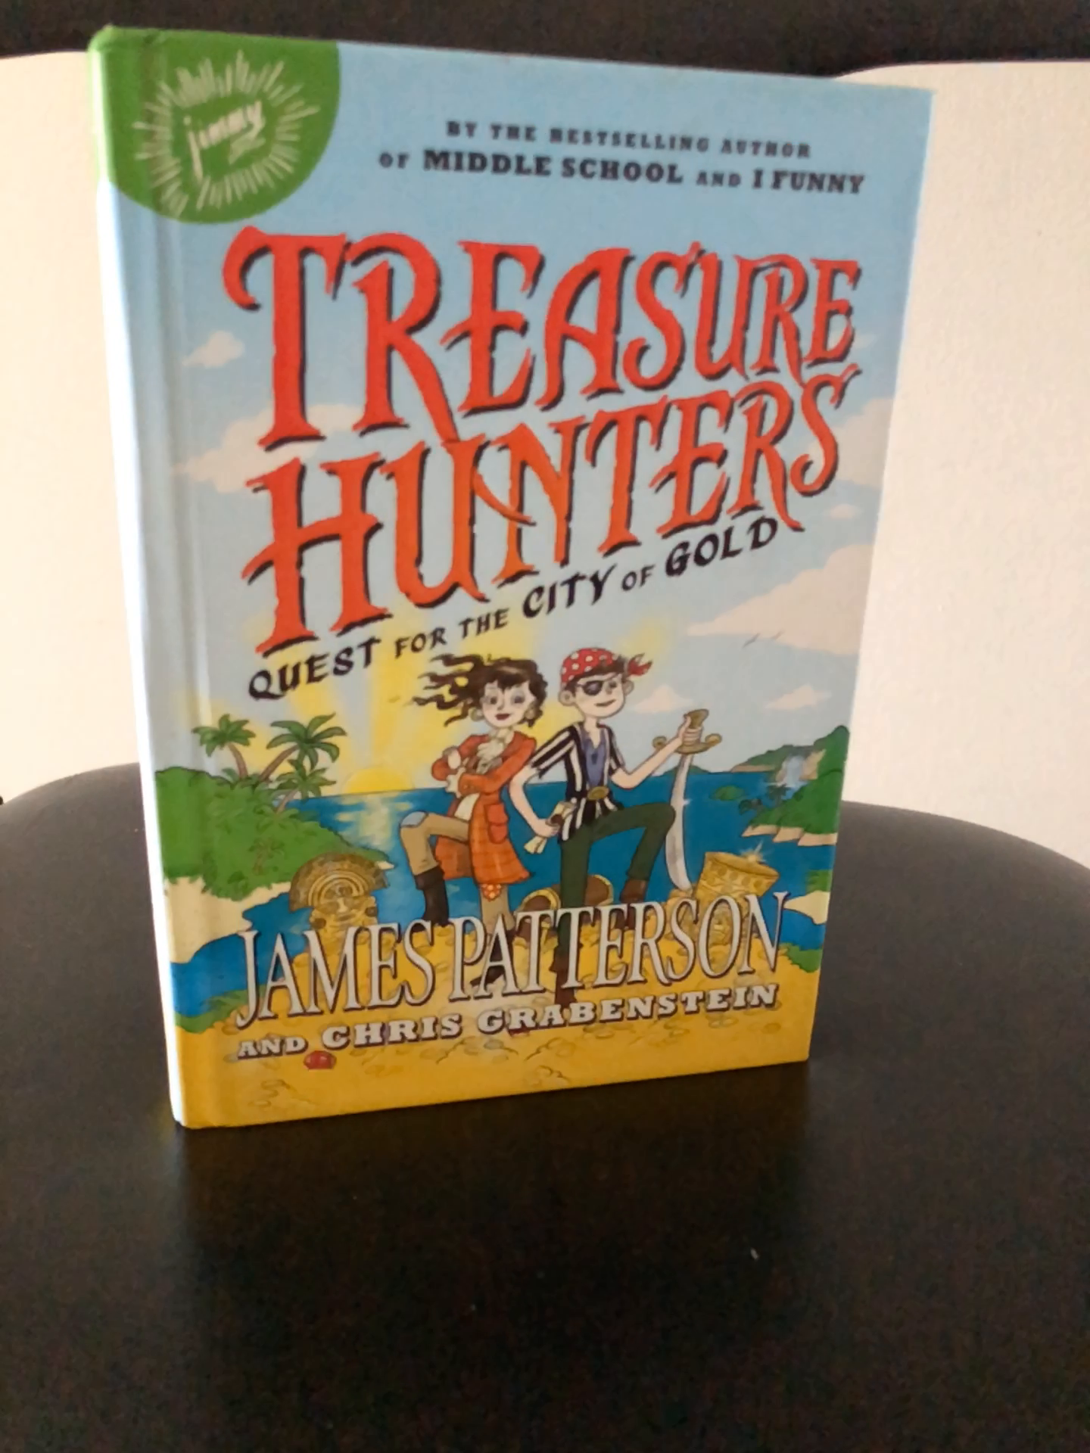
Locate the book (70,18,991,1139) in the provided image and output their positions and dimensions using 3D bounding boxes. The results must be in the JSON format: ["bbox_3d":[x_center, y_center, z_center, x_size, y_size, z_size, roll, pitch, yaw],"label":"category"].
[{"bbox_3d":[-0.004,-0.020,0.258,0.154,0.215,0.040,-3,23,-12],"label":"book"}]
